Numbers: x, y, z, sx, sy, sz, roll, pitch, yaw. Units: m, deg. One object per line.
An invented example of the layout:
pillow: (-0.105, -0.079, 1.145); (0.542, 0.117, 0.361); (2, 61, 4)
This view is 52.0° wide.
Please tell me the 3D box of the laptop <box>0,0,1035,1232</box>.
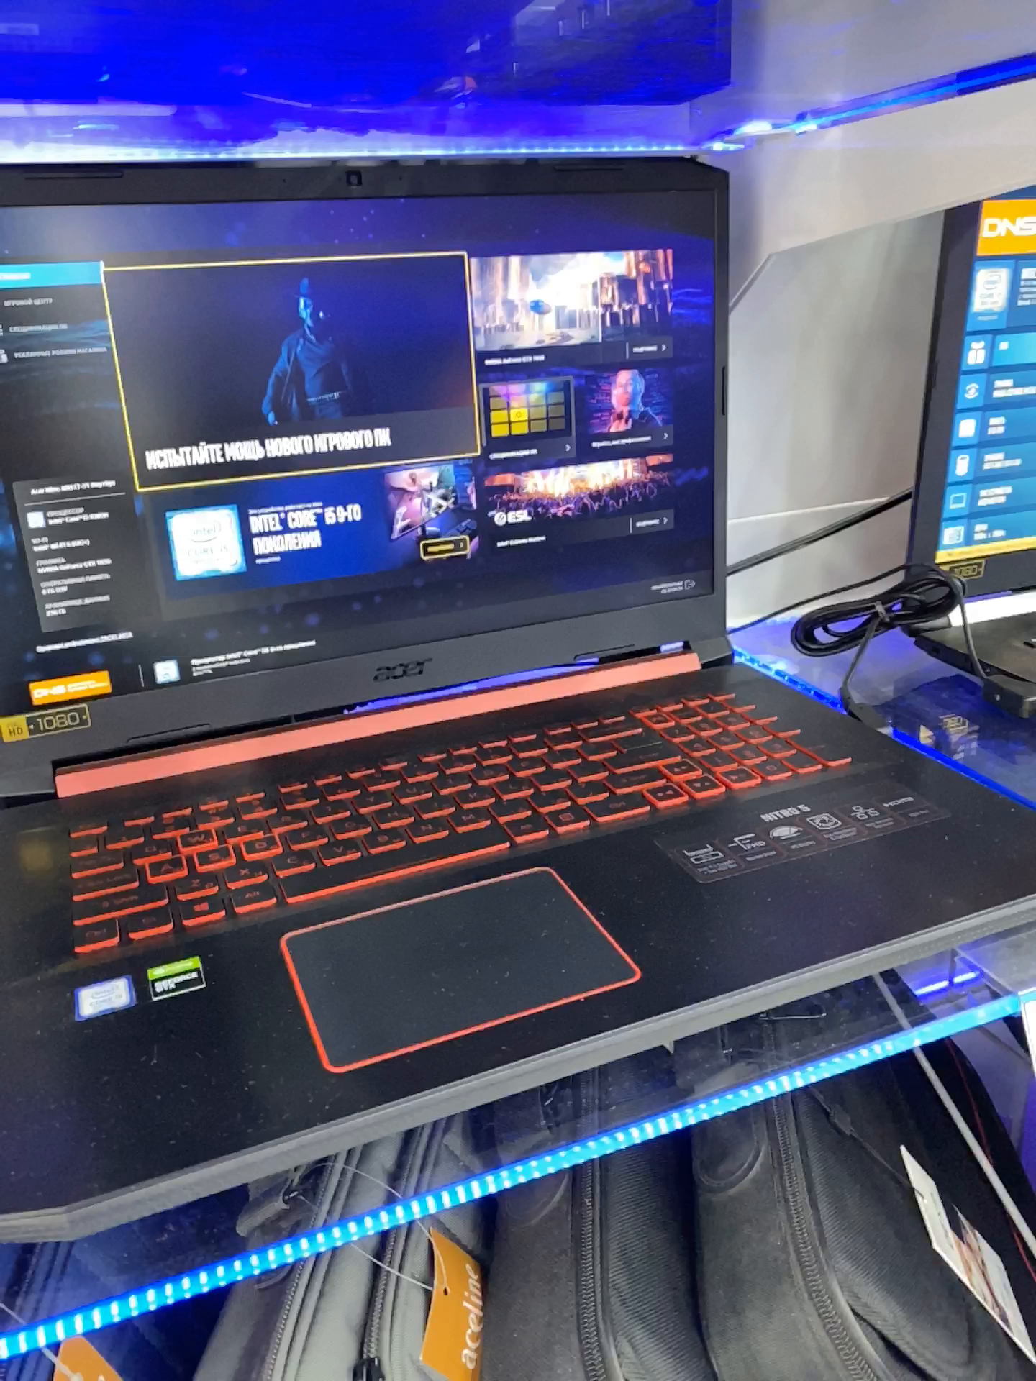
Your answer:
laptop: (-0.013, -0.071, 0.412); (0.406, 0.268, 0.285); (-10, 21, -20)
